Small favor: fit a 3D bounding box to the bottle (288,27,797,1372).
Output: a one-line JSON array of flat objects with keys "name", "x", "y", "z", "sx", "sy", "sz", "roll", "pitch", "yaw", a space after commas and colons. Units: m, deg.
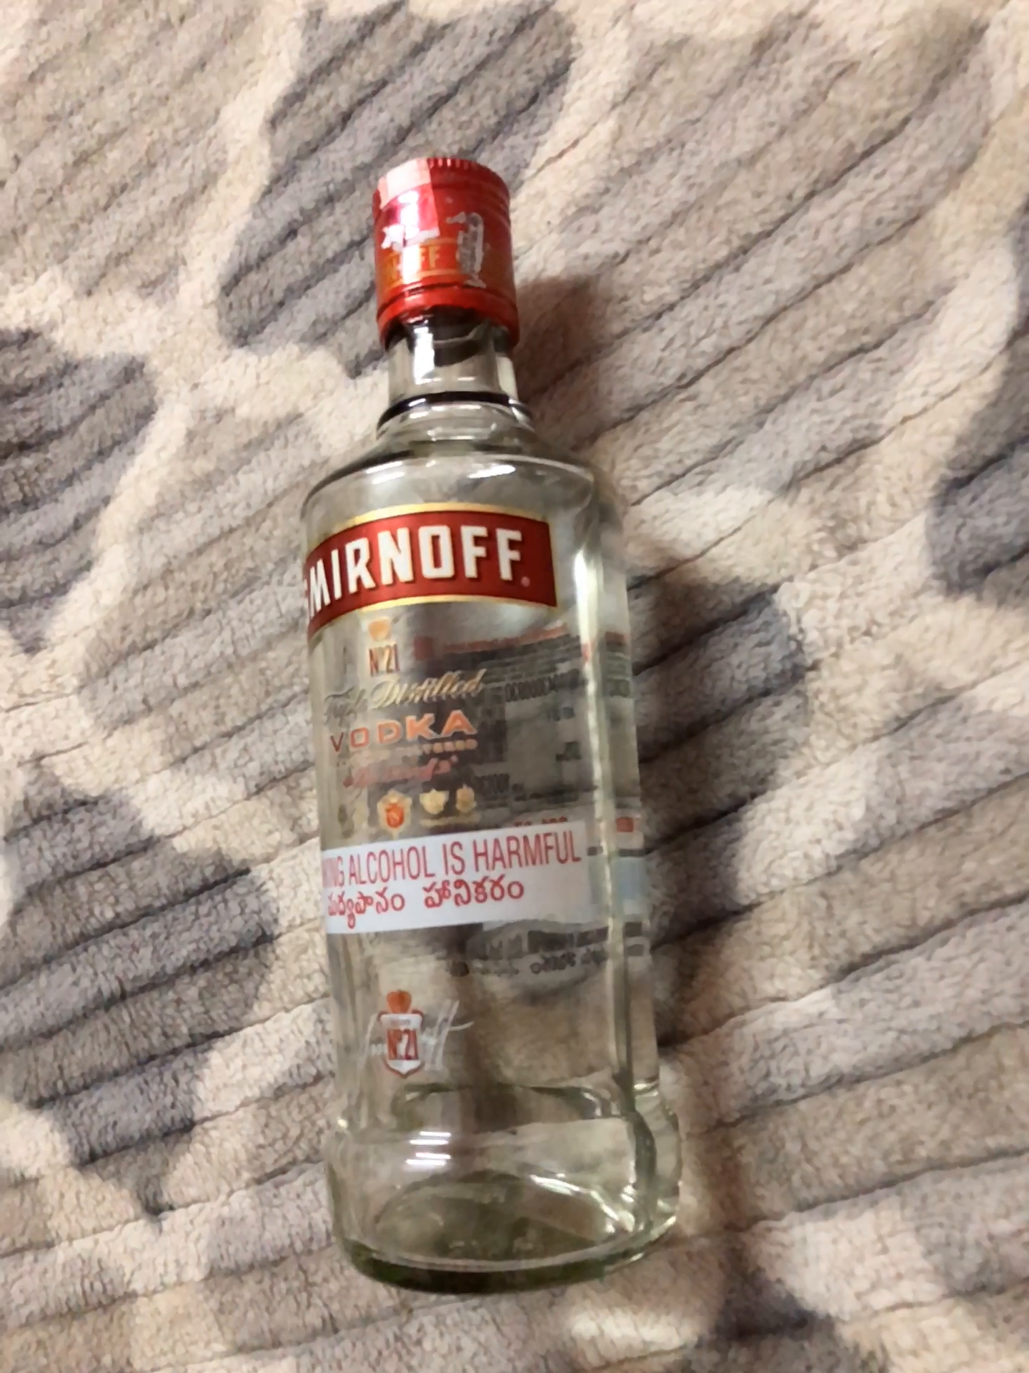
[{"name": "bottle", "x": 0.004, "y": -0.001, "z": 0.233, "sx": 0.070, "sy": 0.060, "sz": 0.230, "roll": -9, "pitch": 78, "yaw": 25}]
